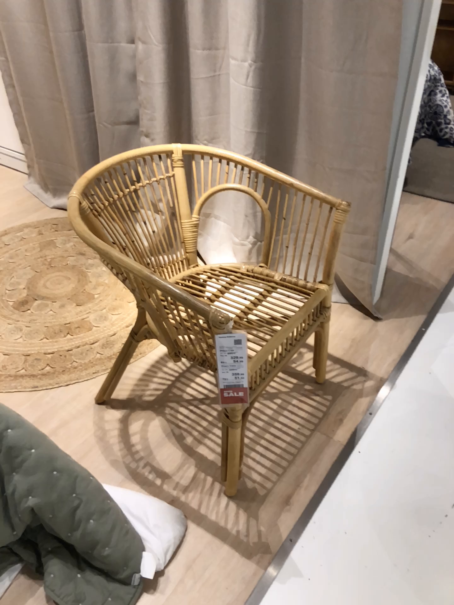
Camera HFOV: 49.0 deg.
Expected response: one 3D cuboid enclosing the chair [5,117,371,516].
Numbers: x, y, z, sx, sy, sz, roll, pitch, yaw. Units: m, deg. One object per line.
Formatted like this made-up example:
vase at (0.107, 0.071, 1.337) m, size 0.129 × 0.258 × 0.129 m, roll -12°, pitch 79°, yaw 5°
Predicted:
chair at (-0.075, -0.004, 1.407) m, size 0.631 × 0.754 × 0.593 m, roll 24°, pitch 44°, yaw 29°
